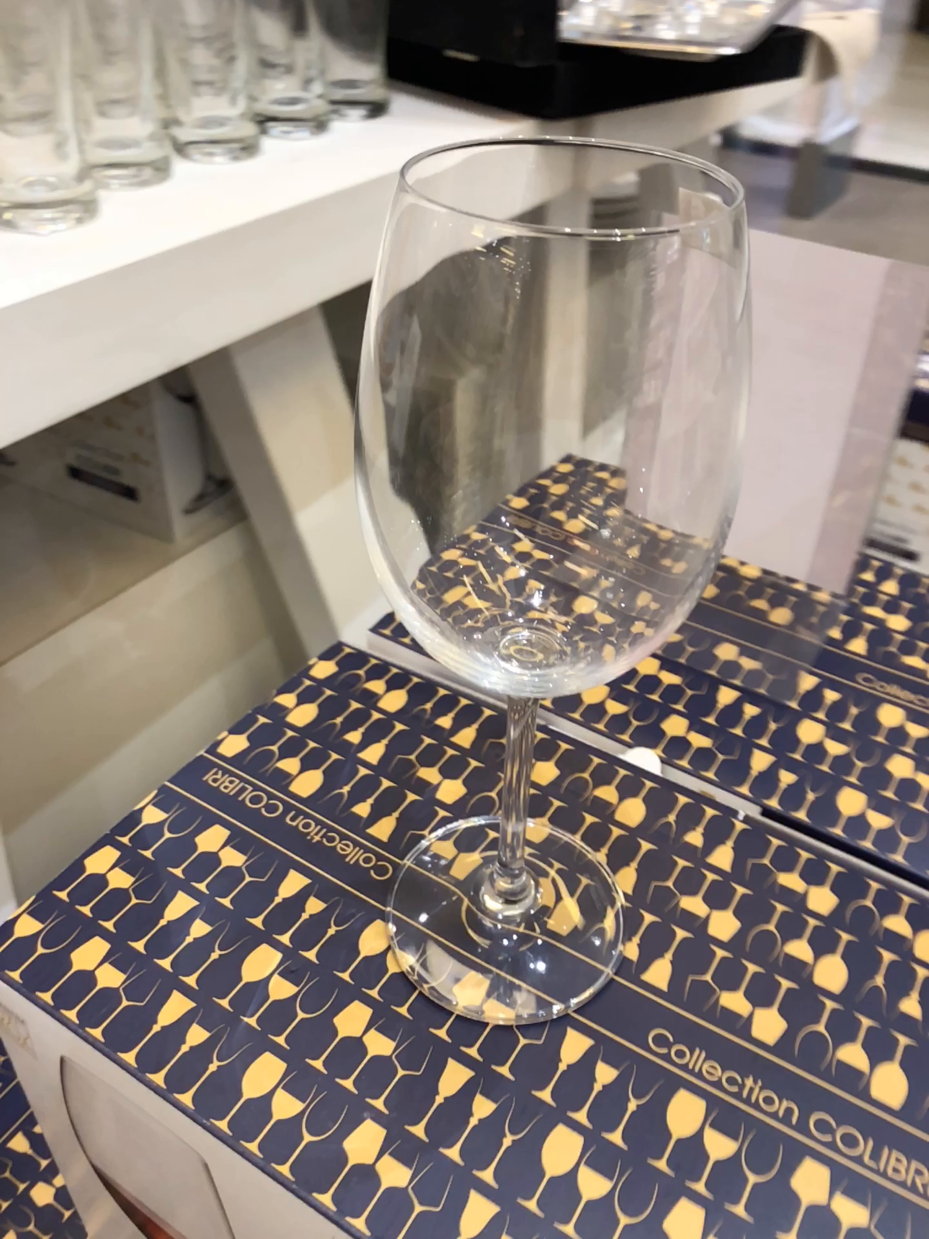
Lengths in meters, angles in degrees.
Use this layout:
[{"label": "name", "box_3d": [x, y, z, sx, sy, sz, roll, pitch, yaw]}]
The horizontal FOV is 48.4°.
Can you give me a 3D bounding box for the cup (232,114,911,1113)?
[{"label": "cup", "box_3d": [0.019, 0.005, 0.253, 0.090, 0.208, 0.091, 1, 37, -1]}]
